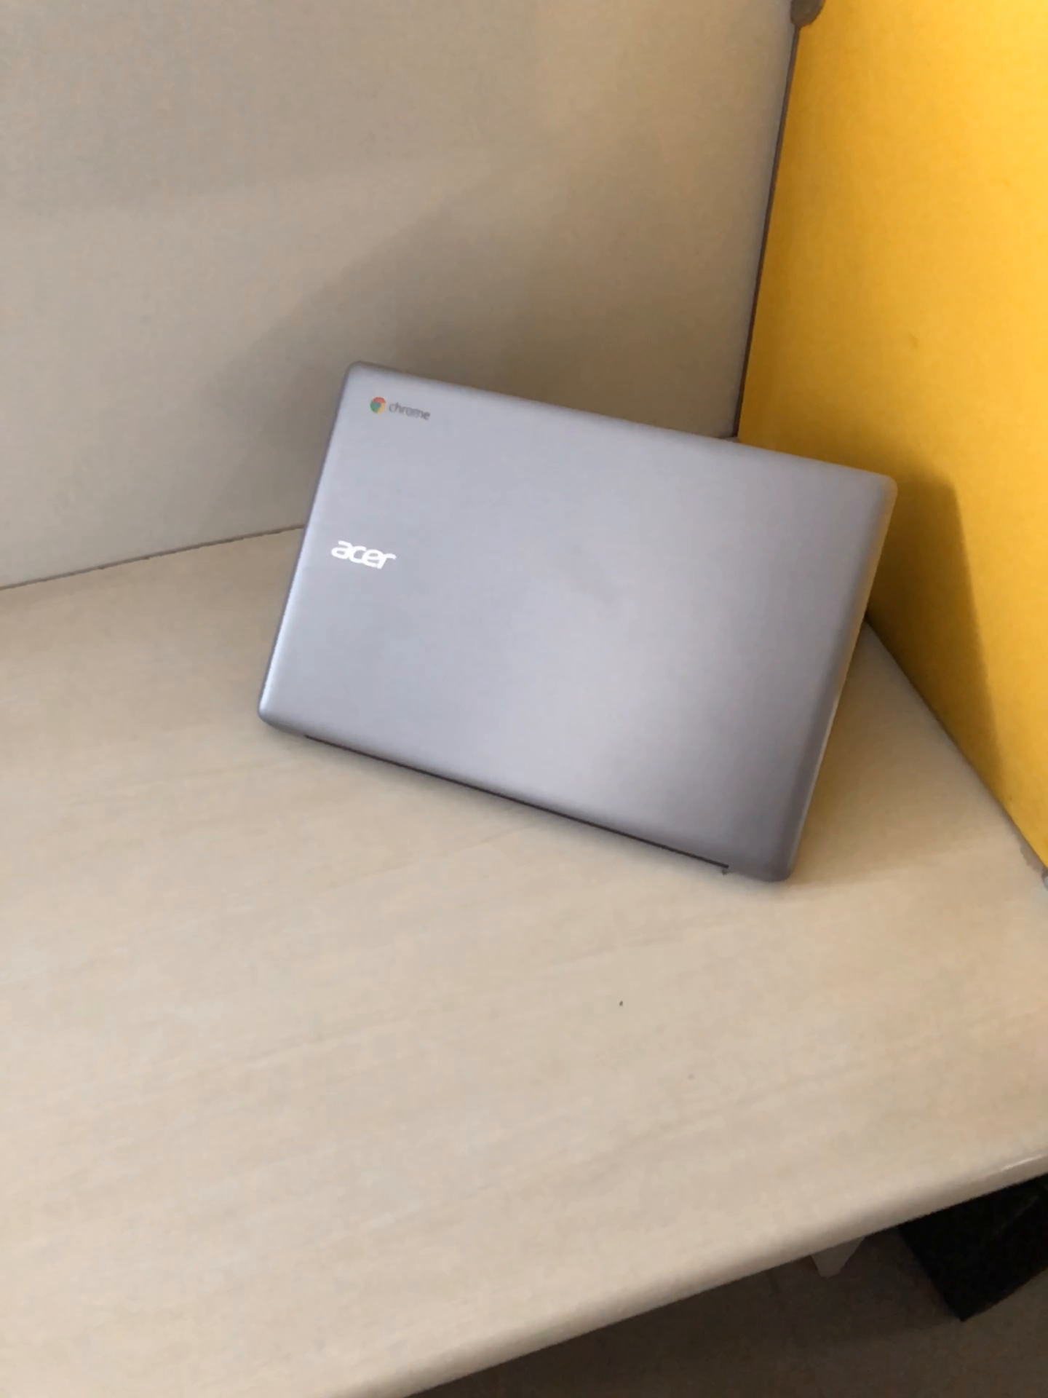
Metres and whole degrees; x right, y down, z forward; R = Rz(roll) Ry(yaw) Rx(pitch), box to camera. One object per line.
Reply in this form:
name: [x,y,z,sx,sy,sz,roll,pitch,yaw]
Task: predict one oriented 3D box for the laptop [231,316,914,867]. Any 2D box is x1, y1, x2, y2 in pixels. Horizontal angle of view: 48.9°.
laptop: [0.035,-0.075,0.679,0.315,0.135,0.222,16,53,14]
